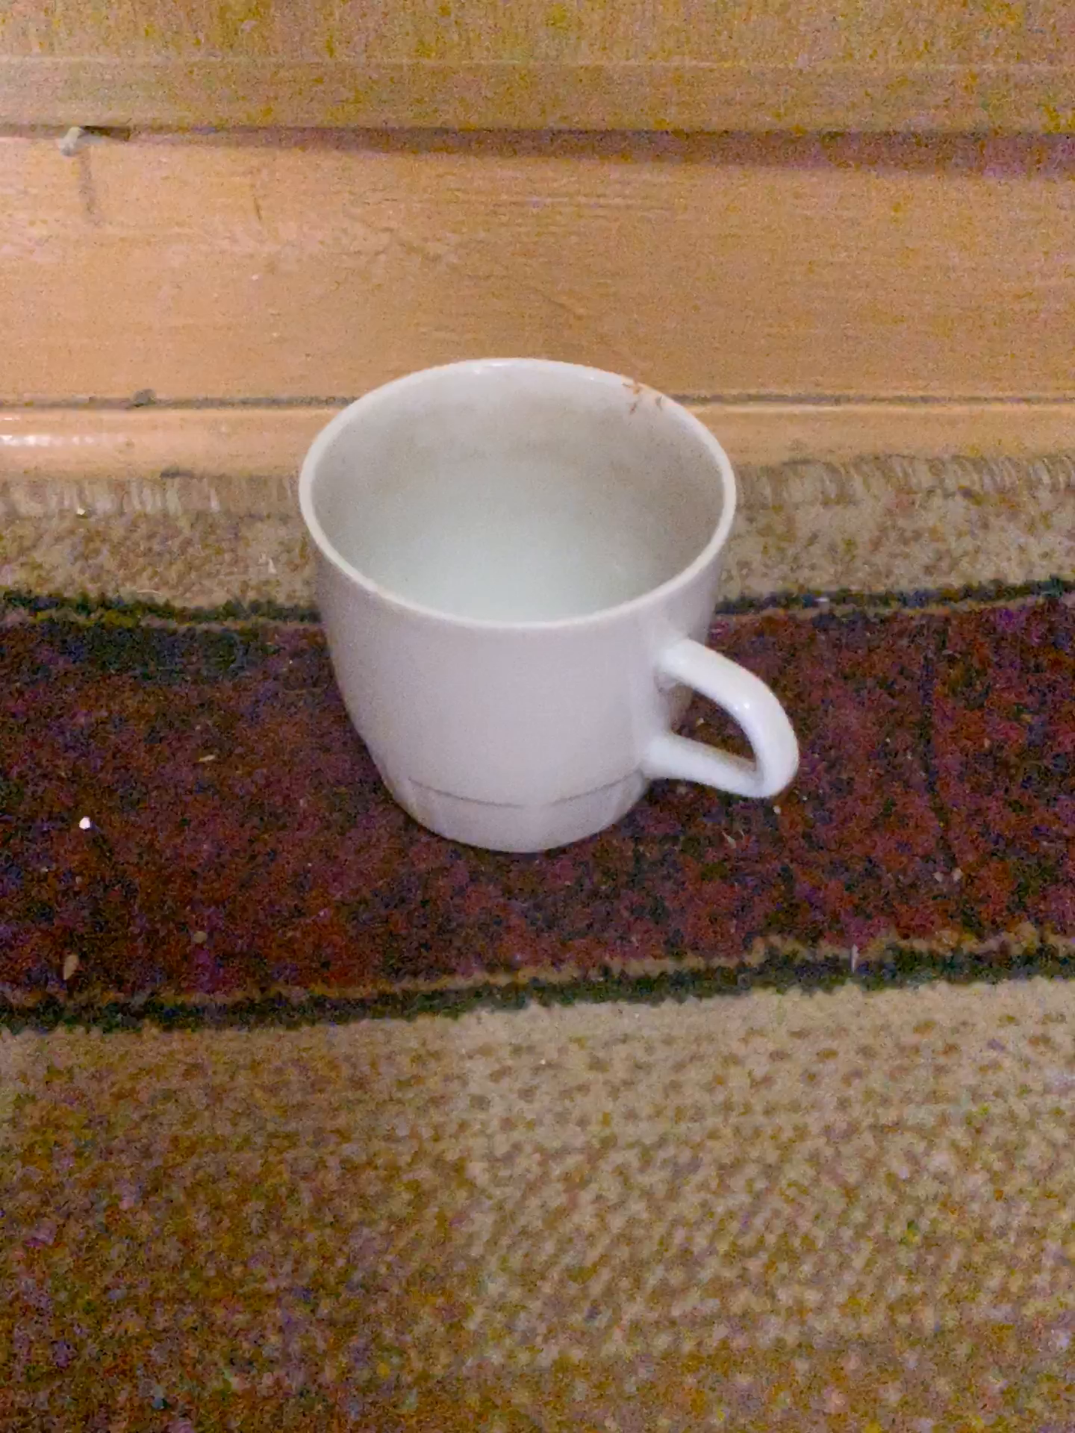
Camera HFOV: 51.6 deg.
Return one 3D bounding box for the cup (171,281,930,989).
[{"bbox_3d":[0.001,-0.023,0.232,0.114,0.075,0.081,30,53,25],"label":"cup"}]
